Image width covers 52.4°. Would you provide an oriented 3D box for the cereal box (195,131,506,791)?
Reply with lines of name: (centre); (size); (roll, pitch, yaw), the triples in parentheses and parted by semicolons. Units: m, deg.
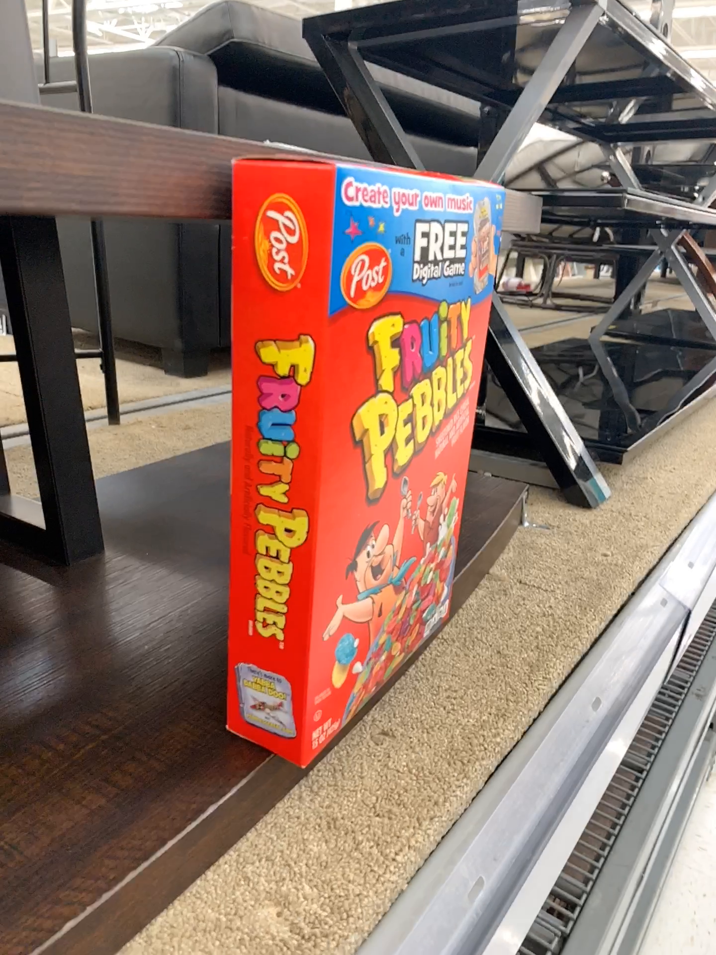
cereal box: (0.002, -0.019, 0.424); (0.060, 0.309, 0.211); (14, 22, 27)
